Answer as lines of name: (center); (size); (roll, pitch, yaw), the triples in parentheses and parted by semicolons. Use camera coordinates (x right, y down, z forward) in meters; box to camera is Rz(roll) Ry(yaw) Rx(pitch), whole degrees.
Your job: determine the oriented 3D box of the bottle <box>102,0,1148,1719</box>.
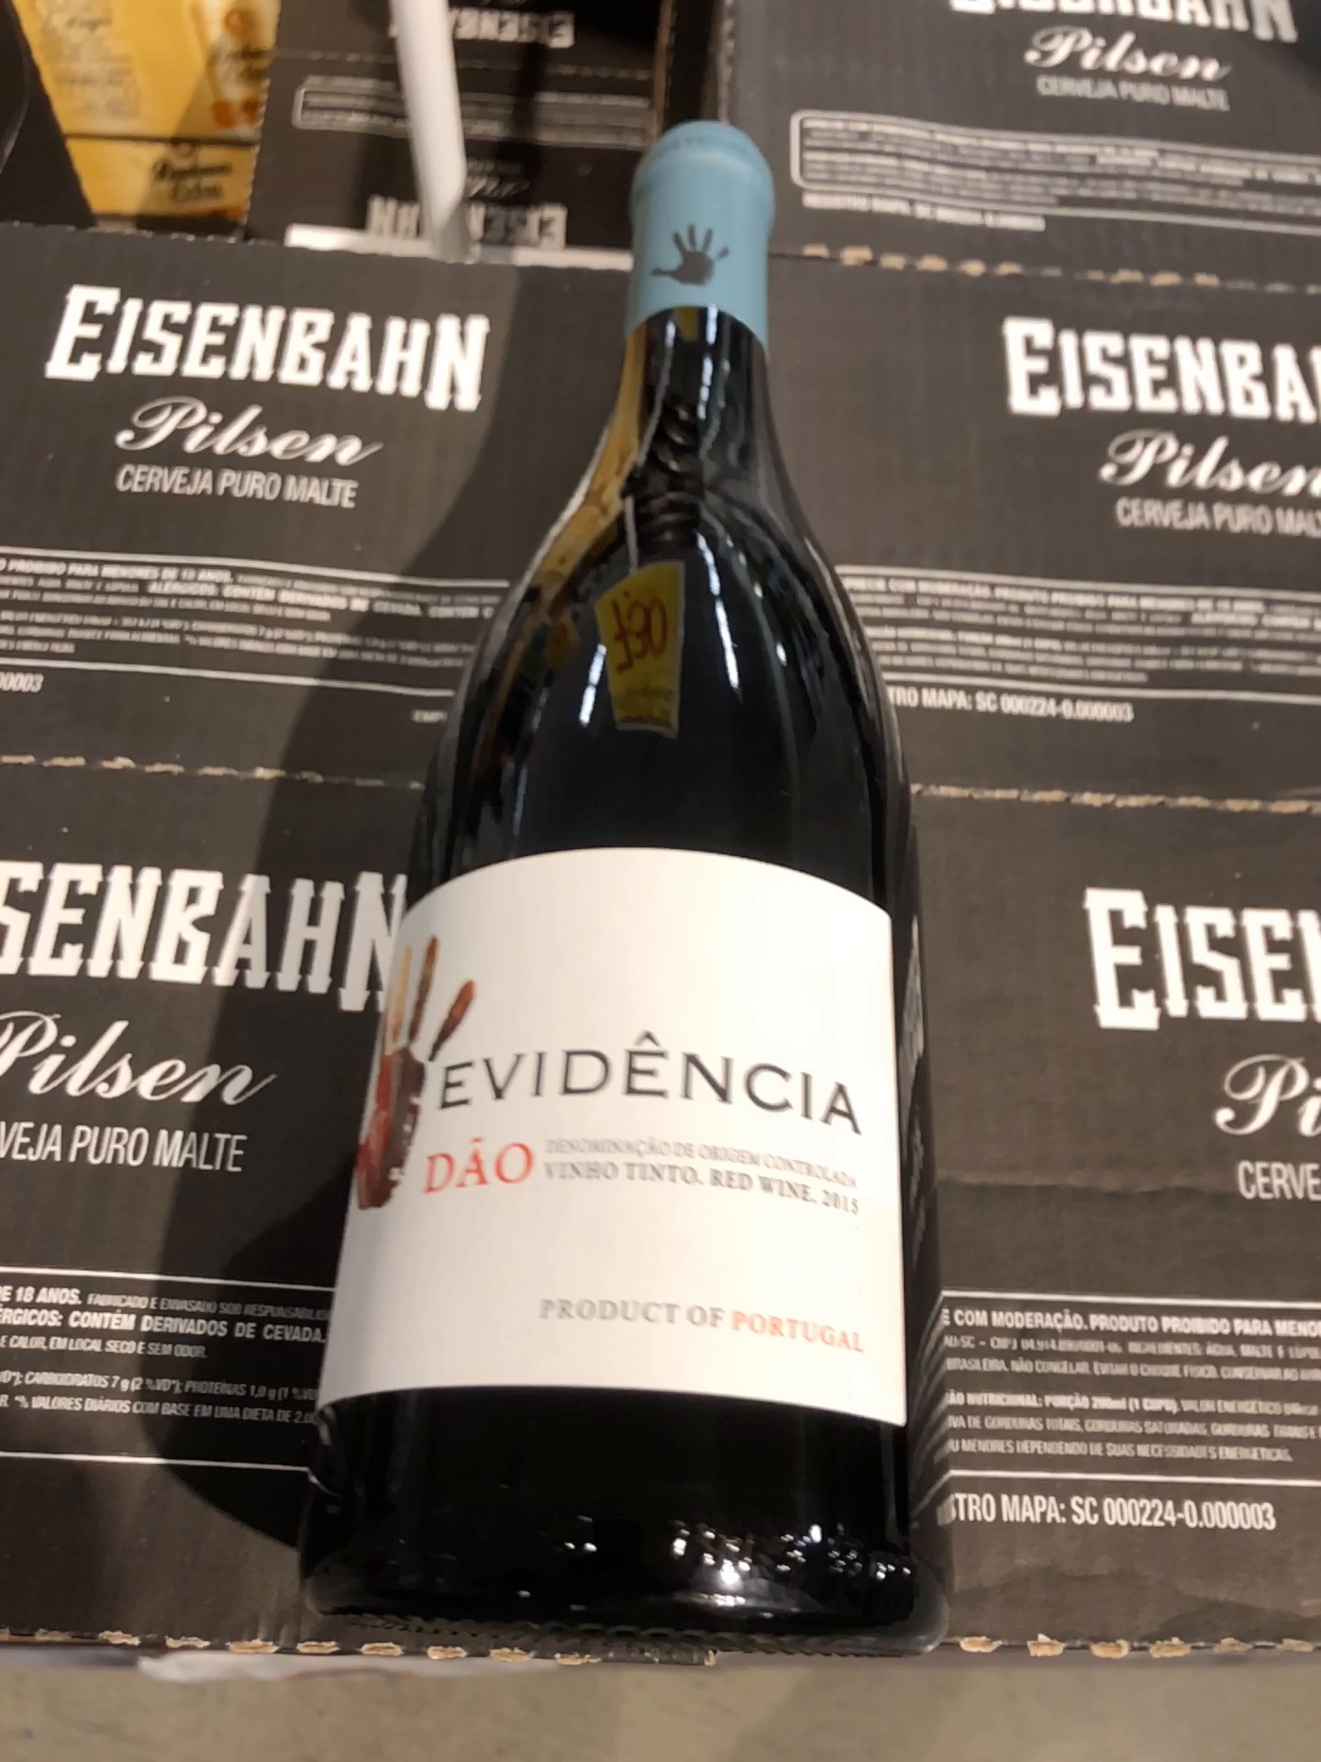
bottle: (0.003, -0.052, 0.253); (0.100, 0.090, 0.331); (3, 64, -1)
